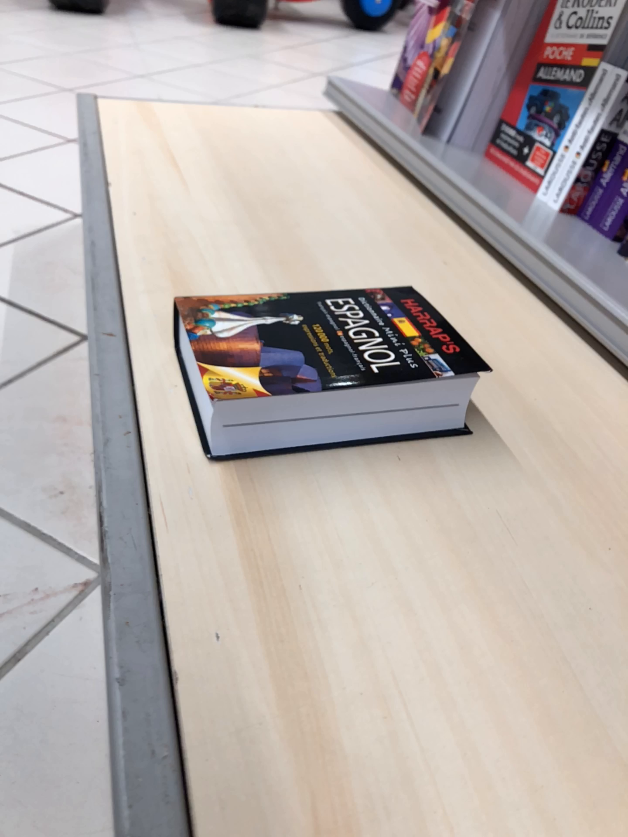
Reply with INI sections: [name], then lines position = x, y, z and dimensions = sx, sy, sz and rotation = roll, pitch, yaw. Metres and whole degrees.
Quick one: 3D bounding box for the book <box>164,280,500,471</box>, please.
[book]
position = 0.003, -0.029, 0.361
dimensions = 0.146, 0.038, 0.103
rotation = -6, 37, -16
